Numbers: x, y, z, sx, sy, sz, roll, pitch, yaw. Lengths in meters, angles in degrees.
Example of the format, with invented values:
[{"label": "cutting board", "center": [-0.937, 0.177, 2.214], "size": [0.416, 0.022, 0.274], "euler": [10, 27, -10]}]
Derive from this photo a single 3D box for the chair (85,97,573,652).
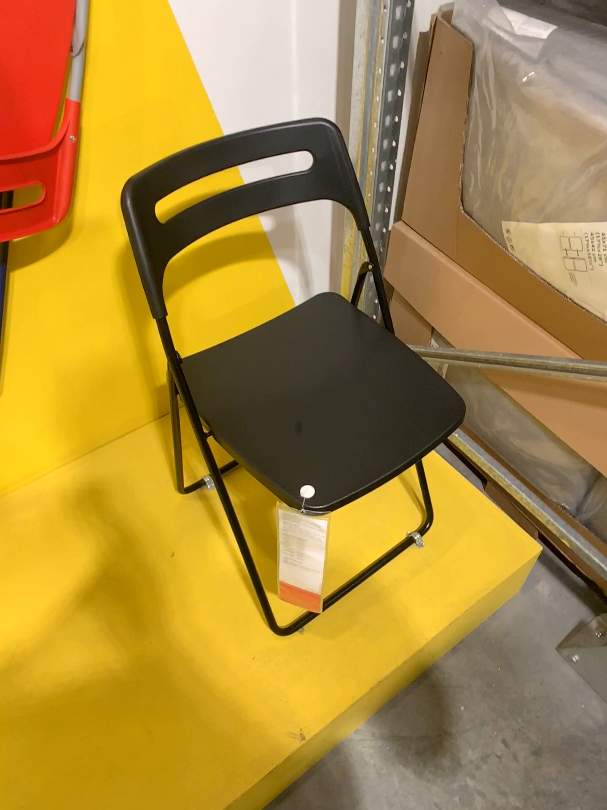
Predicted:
[{"label": "chair", "center": [0.020, -0.033, 1.037], "size": [0.441, 0.697, 0.441], "euler": [-29, 53, -25]}]
